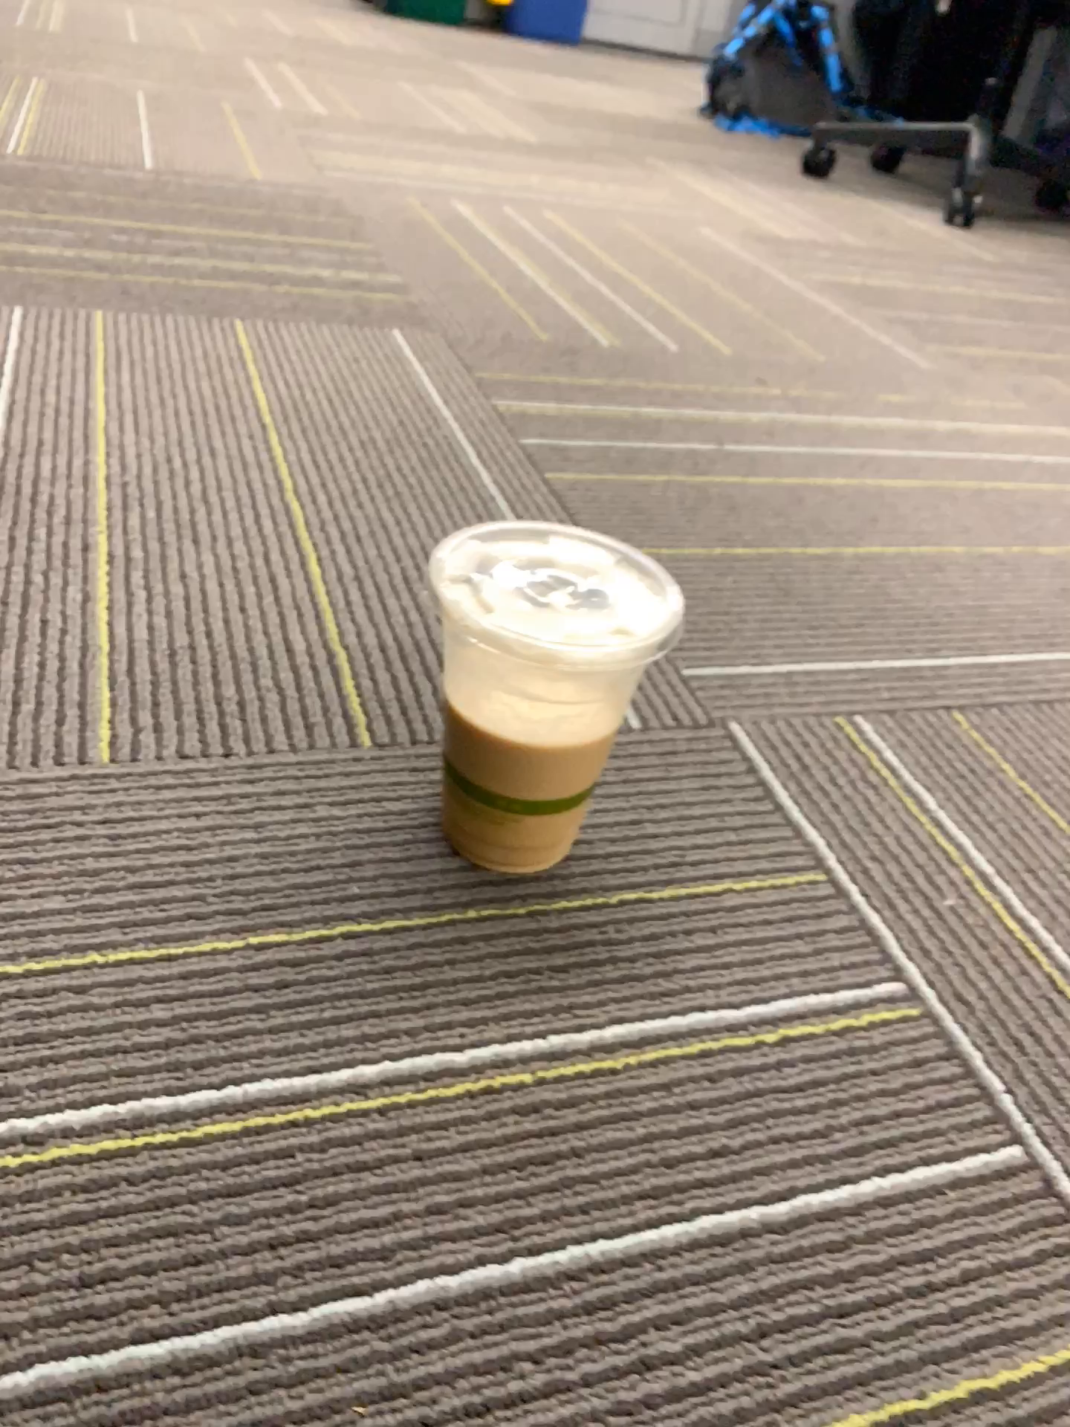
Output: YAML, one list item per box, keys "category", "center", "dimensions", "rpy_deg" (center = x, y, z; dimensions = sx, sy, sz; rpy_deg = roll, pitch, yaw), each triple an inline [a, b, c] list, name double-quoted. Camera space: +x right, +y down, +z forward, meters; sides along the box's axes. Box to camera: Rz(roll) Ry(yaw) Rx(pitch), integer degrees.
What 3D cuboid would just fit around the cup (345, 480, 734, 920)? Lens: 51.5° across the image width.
- category: "cup"
  center: [0.000, -0.010, 0.433]
  dimensions: [0.100, 0.109, 0.100]
  rpy_deg: [7, 34, -5]
